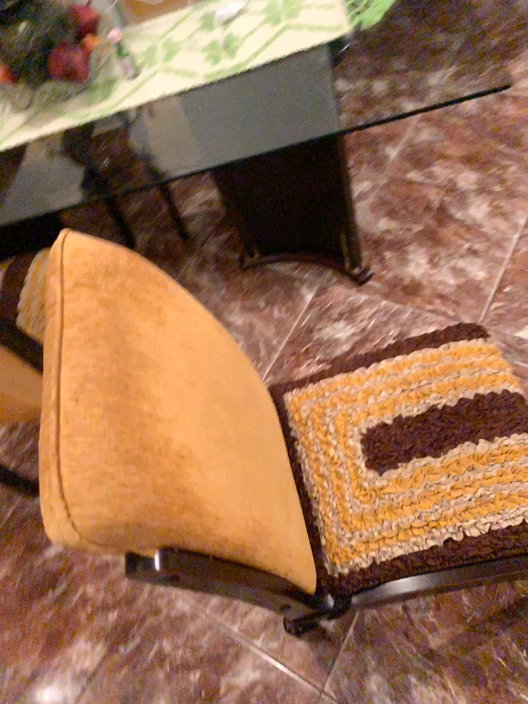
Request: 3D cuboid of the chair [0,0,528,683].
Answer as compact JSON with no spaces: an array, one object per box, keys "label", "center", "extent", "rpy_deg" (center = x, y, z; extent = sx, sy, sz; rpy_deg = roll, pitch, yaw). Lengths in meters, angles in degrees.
[{"label":"chair","center":[0.168,0.138,0.872],"extent":[0.600,0.936,0.562],"rpy_deg":[-18,56,6]}]
